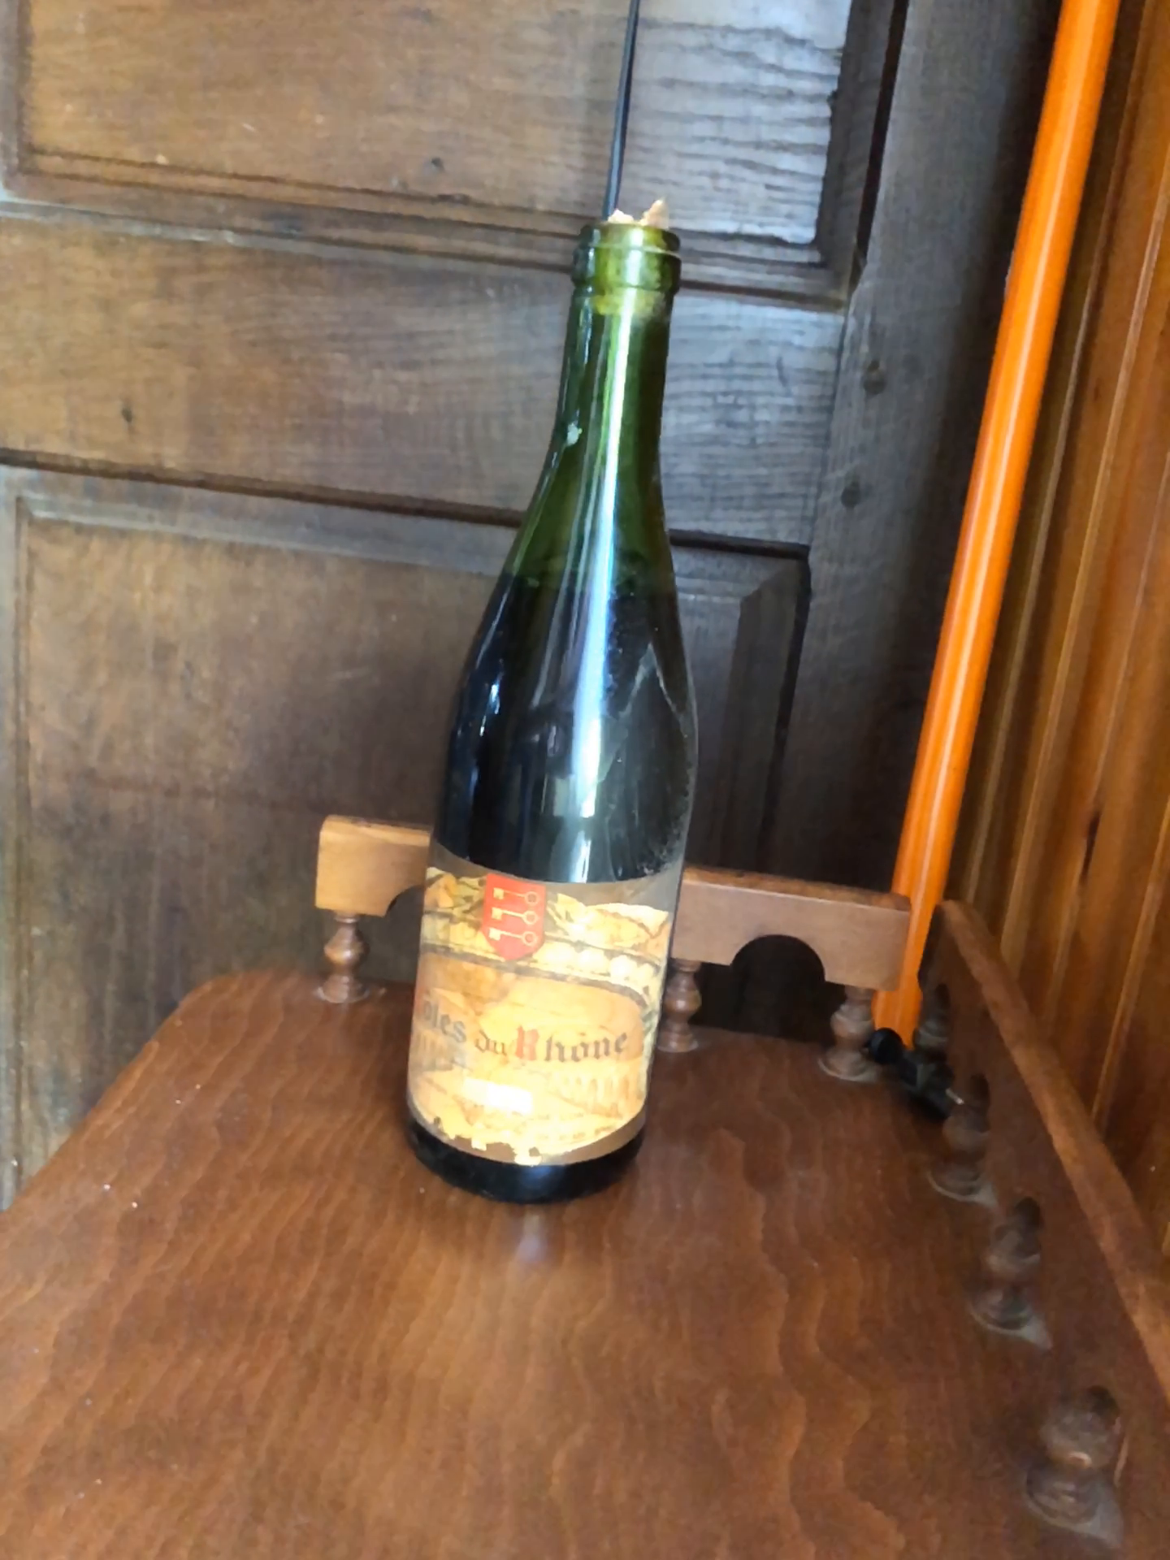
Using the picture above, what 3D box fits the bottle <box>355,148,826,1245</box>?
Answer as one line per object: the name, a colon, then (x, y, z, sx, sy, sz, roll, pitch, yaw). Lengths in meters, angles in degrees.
bottle: (0.001, -0.021, 0.379, 0.090, 0.279, 0.090, 6, 16, -2)
